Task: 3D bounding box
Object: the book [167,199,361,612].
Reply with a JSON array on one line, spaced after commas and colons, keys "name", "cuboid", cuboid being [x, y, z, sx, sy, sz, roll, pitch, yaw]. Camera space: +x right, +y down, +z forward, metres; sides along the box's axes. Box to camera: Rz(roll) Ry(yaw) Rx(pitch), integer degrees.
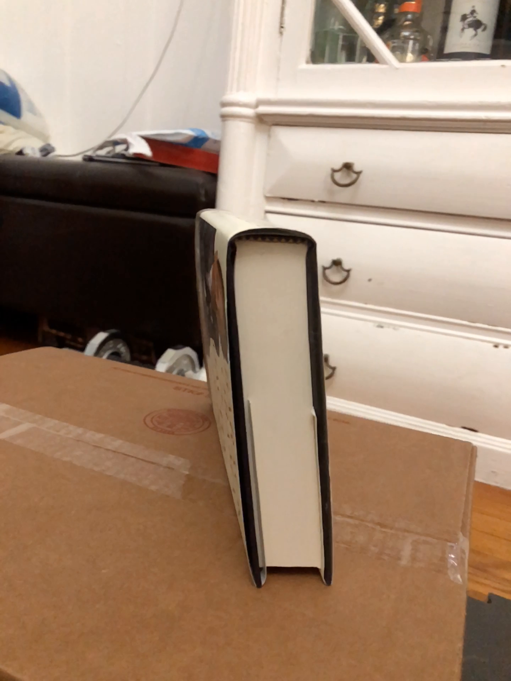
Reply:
[{"name": "book", "cuboid": [-0.011, 0.004, 0.352, 0.060, 0.169, 0.251, -7, 14, -8]}]
